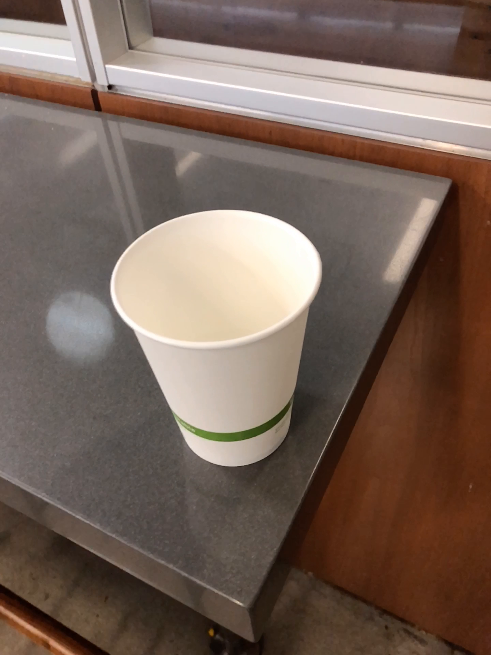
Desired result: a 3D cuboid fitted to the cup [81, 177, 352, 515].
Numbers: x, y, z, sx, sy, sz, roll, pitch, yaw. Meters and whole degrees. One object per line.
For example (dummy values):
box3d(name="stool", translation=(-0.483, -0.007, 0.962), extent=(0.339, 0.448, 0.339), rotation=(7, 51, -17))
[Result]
box3d(name="cup", translation=(-0.013, 0.011, 0.260), extent=(0.090, 0.119, 0.080), rotation=(-15, 45, -11))
